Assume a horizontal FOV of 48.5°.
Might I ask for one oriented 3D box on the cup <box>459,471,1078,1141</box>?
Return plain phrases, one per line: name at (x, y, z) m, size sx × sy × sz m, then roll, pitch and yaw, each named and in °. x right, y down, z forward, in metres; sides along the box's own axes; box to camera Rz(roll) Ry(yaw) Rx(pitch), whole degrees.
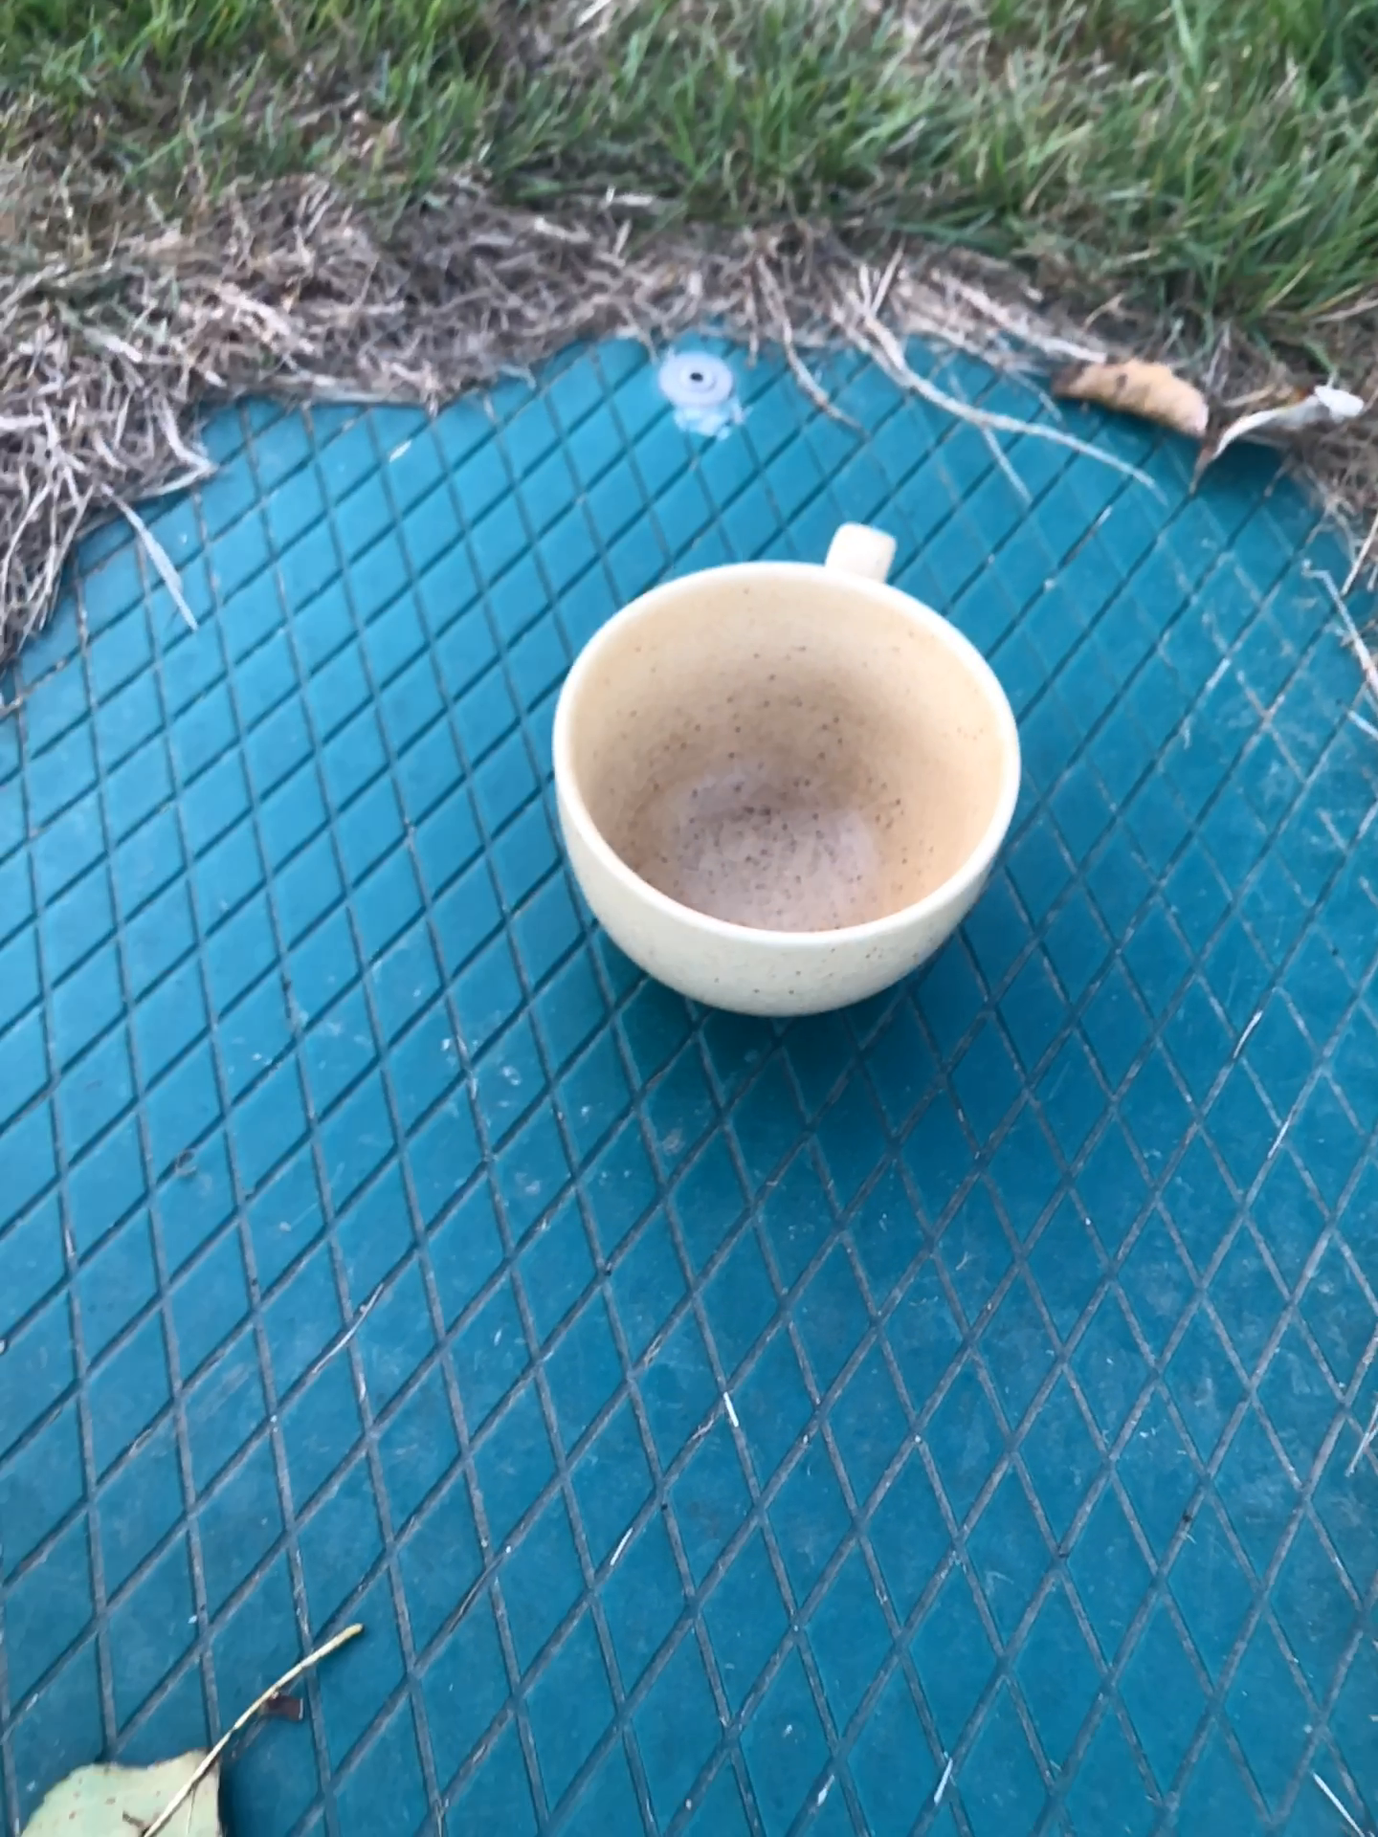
cup at (0.024, -0.034, 0.409) m, size 0.124 × 0.065 × 0.143 m, roll 16°, pitch 57°, yaw 6°
